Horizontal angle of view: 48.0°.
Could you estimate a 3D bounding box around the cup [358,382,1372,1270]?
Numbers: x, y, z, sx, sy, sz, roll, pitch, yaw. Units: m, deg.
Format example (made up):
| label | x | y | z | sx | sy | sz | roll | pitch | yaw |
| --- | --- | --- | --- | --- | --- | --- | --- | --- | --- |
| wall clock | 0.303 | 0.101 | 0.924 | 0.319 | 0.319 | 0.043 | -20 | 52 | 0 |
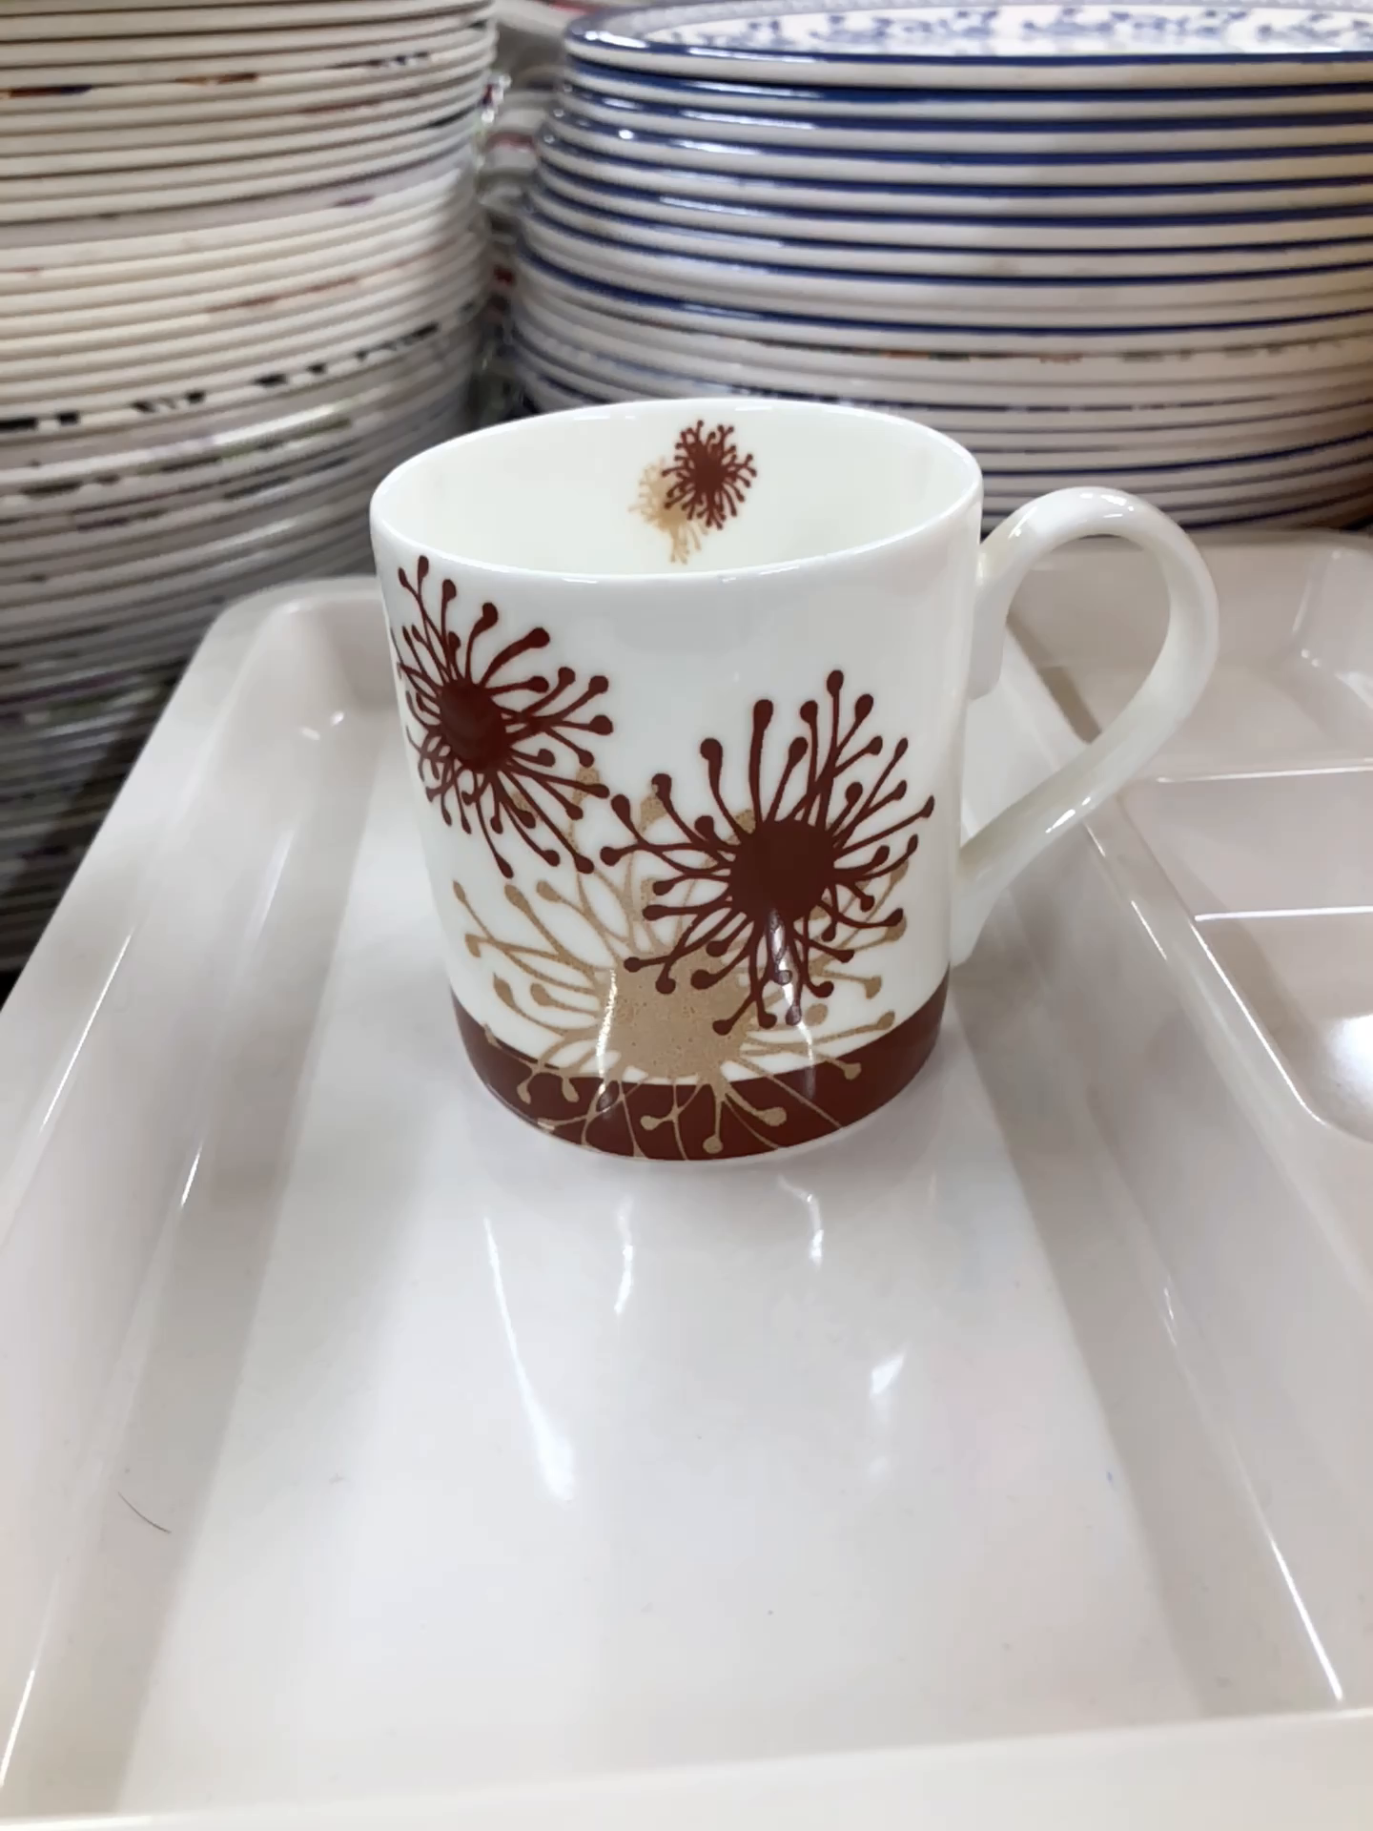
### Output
| label | x | y | z | sx | sy | sz | roll | pitch | yaw |
| --- | --- | --- | --- | --- | --- | --- | --- | --- | --- |
| cup | 0.021 | -0.018 | 0.219 | 0.120 | 0.089 | 0.080 | -5 | 32 | -7 |
